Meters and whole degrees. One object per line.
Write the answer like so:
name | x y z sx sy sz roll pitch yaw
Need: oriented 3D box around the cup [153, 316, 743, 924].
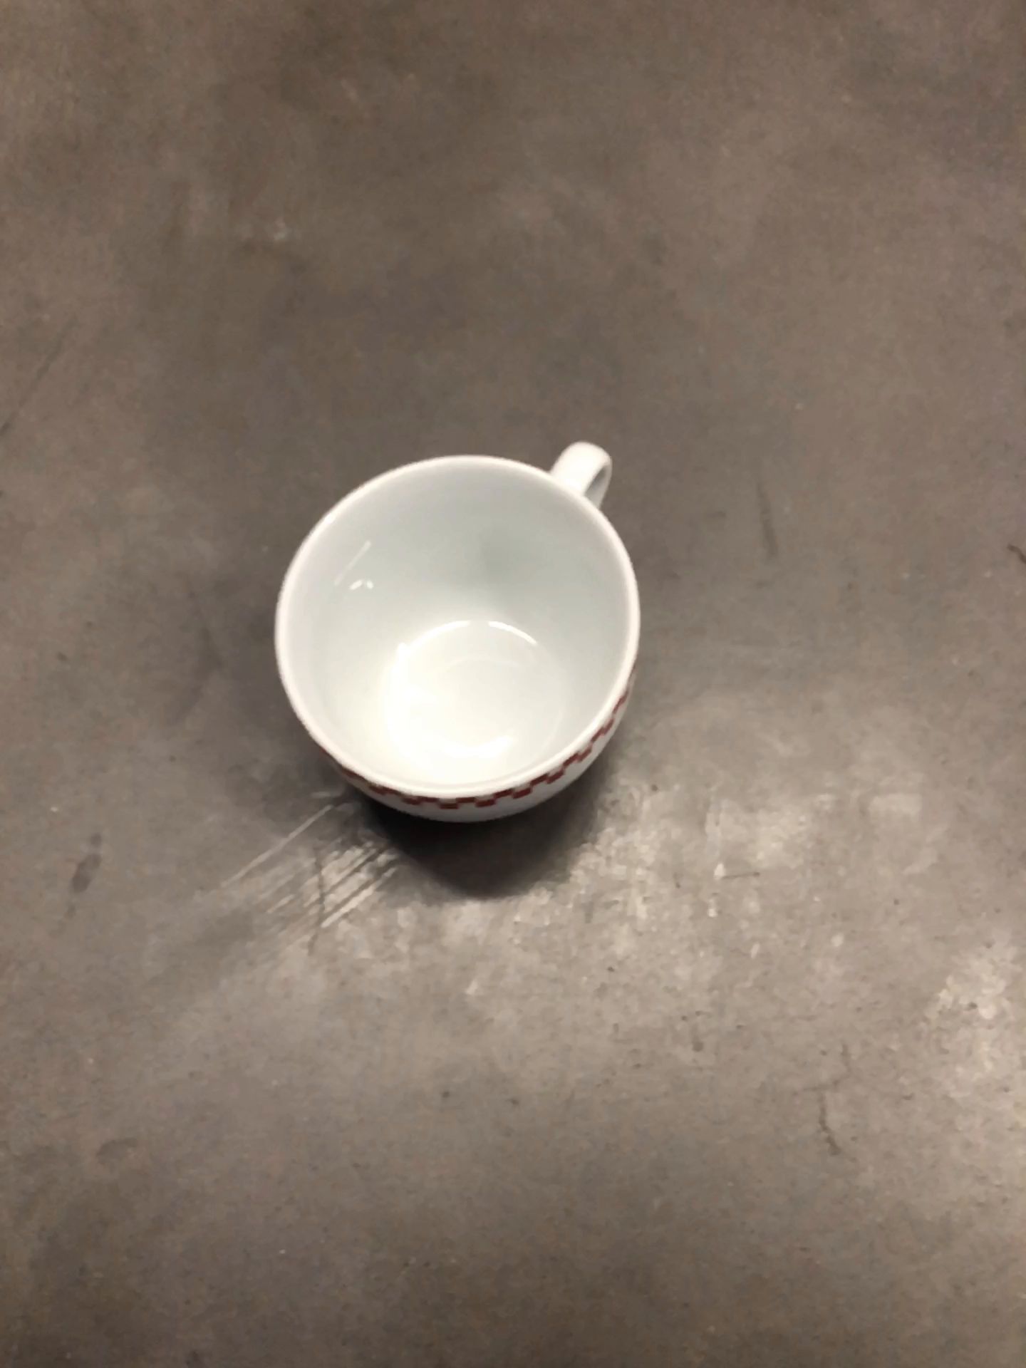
cup | -0.011 -0.016 0.287 0.088 0.058 0.111 29 73 14
